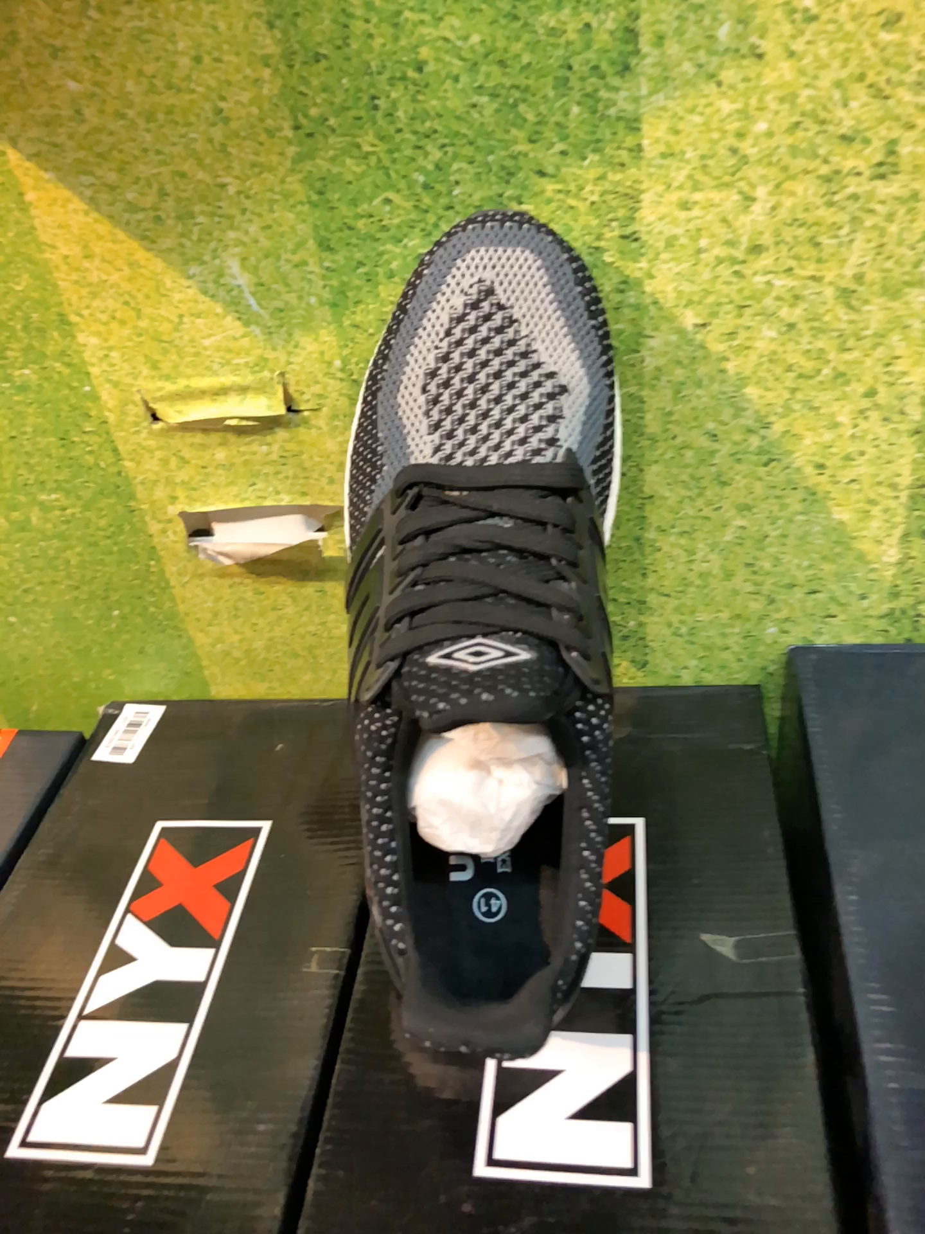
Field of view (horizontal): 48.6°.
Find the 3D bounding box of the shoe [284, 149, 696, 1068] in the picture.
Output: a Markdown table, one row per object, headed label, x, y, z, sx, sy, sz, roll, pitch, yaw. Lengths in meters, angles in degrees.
| label | x | y | z | sx | sy | sz | roll | pitch | yaw |
| --- | --- | --- | --- | --- | --- | --- | --- | --- | --- |
| shoe | 0.011 | -0.003 | 0.360 | 0.110 | 0.122 | 0.270 | 2 | 79 | -1 |
